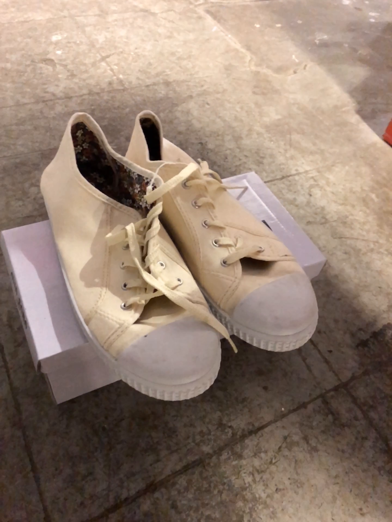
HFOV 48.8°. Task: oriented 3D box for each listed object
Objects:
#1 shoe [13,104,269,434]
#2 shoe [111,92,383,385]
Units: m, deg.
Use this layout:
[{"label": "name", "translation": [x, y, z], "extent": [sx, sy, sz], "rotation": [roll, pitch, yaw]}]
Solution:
[{"label": "shoe", "translation": [-0.060, -0.014, 0.349], "extent": [0.090, 0.079, 0.261], "rotation": [-19, 56, -22]}, {"label": "shoe", "translation": [0.022, -0.038, 0.375], "extent": [0.100, 0.079, 0.251], "rotation": [-19, 56, -23]}]
